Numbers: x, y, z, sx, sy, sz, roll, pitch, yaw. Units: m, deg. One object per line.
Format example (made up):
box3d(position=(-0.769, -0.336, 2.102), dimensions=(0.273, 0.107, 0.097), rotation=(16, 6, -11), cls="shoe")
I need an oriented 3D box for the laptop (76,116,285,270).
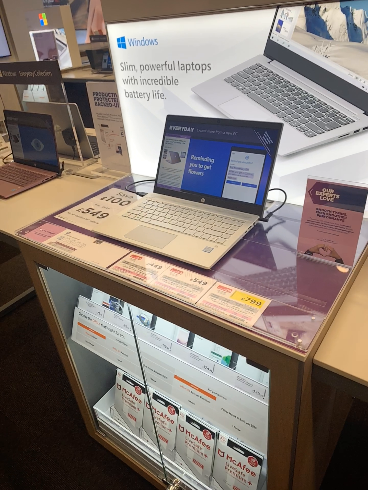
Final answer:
box3d(position=(0.006, -0.146, 0.839), dimensions=(0.314, 0.171, 0.324), rotation=(17, 39, 33), cls="laptop")
